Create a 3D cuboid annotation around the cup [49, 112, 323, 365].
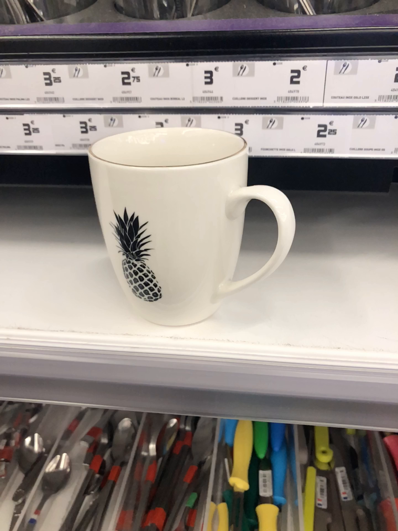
[{"bbox_3d":[-0.005,-0.025,0.251,0.114,0.093,0.083,19,37,32],"label":"cup"}]
